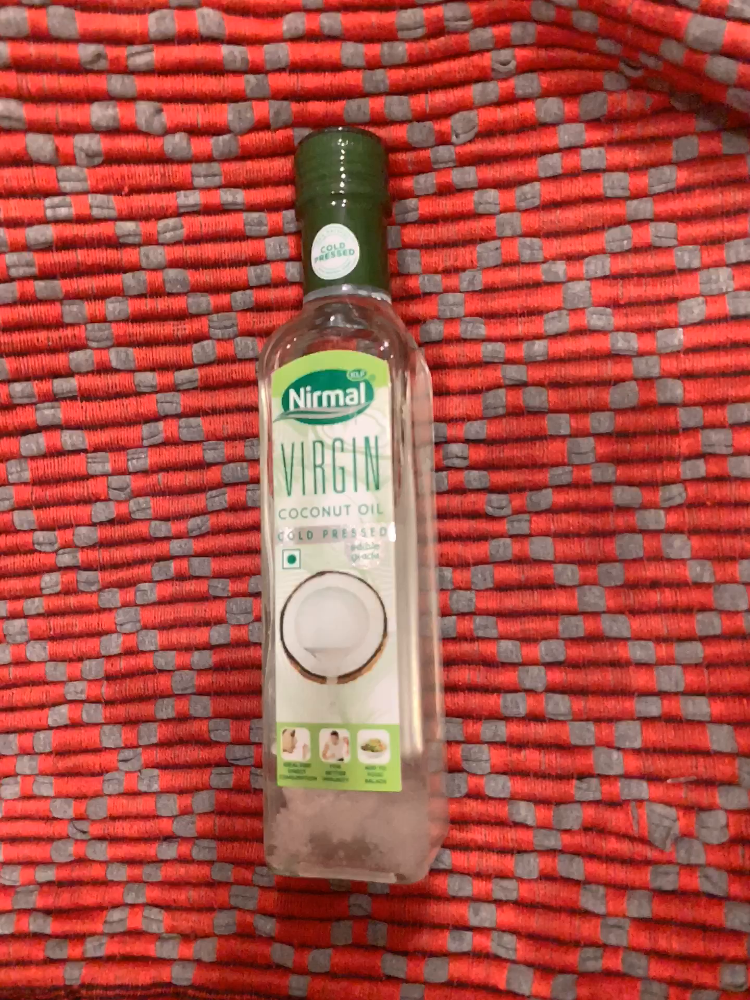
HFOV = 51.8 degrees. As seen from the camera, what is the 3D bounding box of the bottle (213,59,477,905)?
[{"bbox_3d":[-0.008,-0.007,0.234,0.060,0.060,0.220,-4,82,14],"label":"bottle"}]
